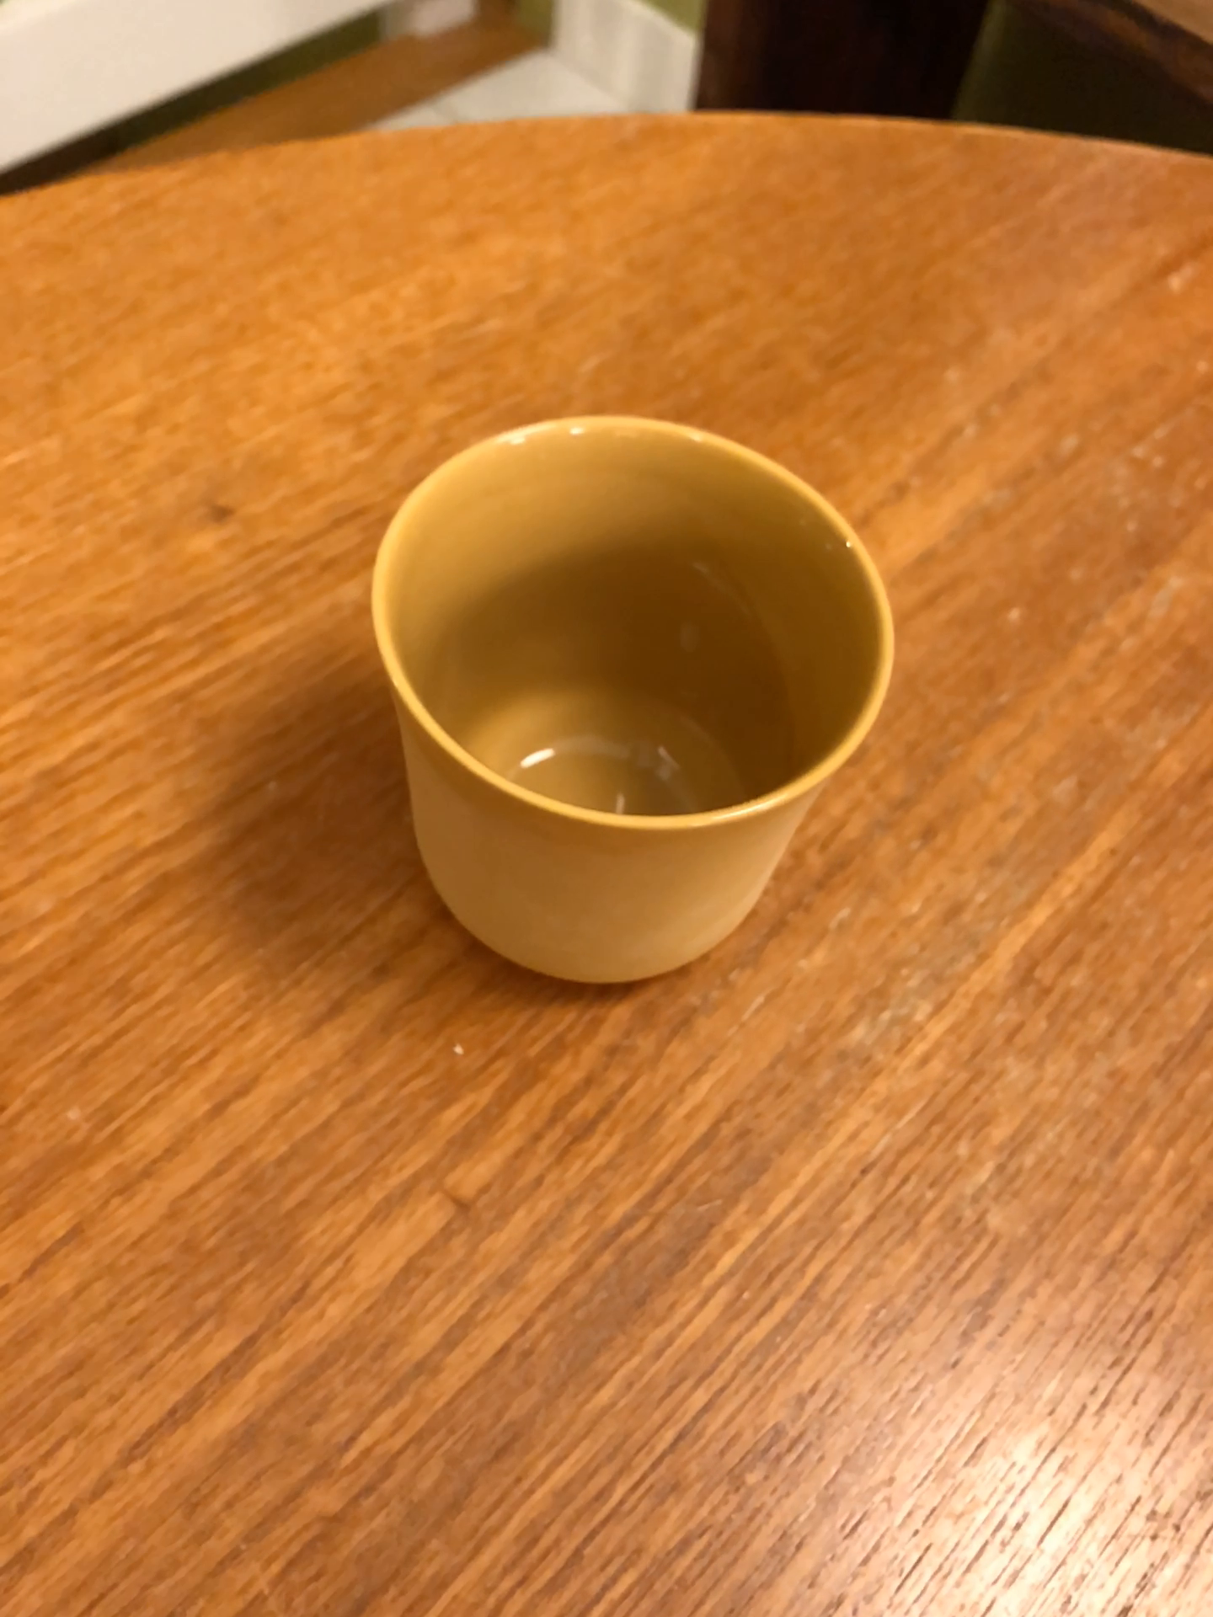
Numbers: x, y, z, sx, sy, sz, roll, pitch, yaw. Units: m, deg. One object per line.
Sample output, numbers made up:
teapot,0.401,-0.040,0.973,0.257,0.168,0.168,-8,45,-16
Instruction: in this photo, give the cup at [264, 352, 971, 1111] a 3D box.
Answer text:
cup,0.001,-0.011,0.226,0.077,0.073,0.074,3,58,-5
